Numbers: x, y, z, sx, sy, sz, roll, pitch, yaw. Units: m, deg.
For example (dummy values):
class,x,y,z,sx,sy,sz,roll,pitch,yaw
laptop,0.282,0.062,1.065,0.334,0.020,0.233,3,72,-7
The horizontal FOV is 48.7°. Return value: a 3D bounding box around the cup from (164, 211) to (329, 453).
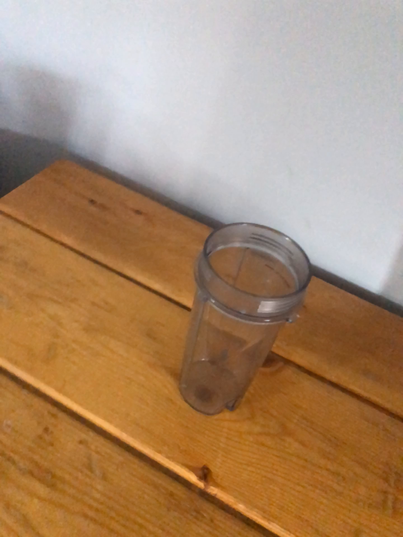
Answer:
class,x,y,z,sx,sy,sz,roll,pitch,yaw
cup,0.031,0.063,0.381,0.080,0.189,0.090,19,45,6
